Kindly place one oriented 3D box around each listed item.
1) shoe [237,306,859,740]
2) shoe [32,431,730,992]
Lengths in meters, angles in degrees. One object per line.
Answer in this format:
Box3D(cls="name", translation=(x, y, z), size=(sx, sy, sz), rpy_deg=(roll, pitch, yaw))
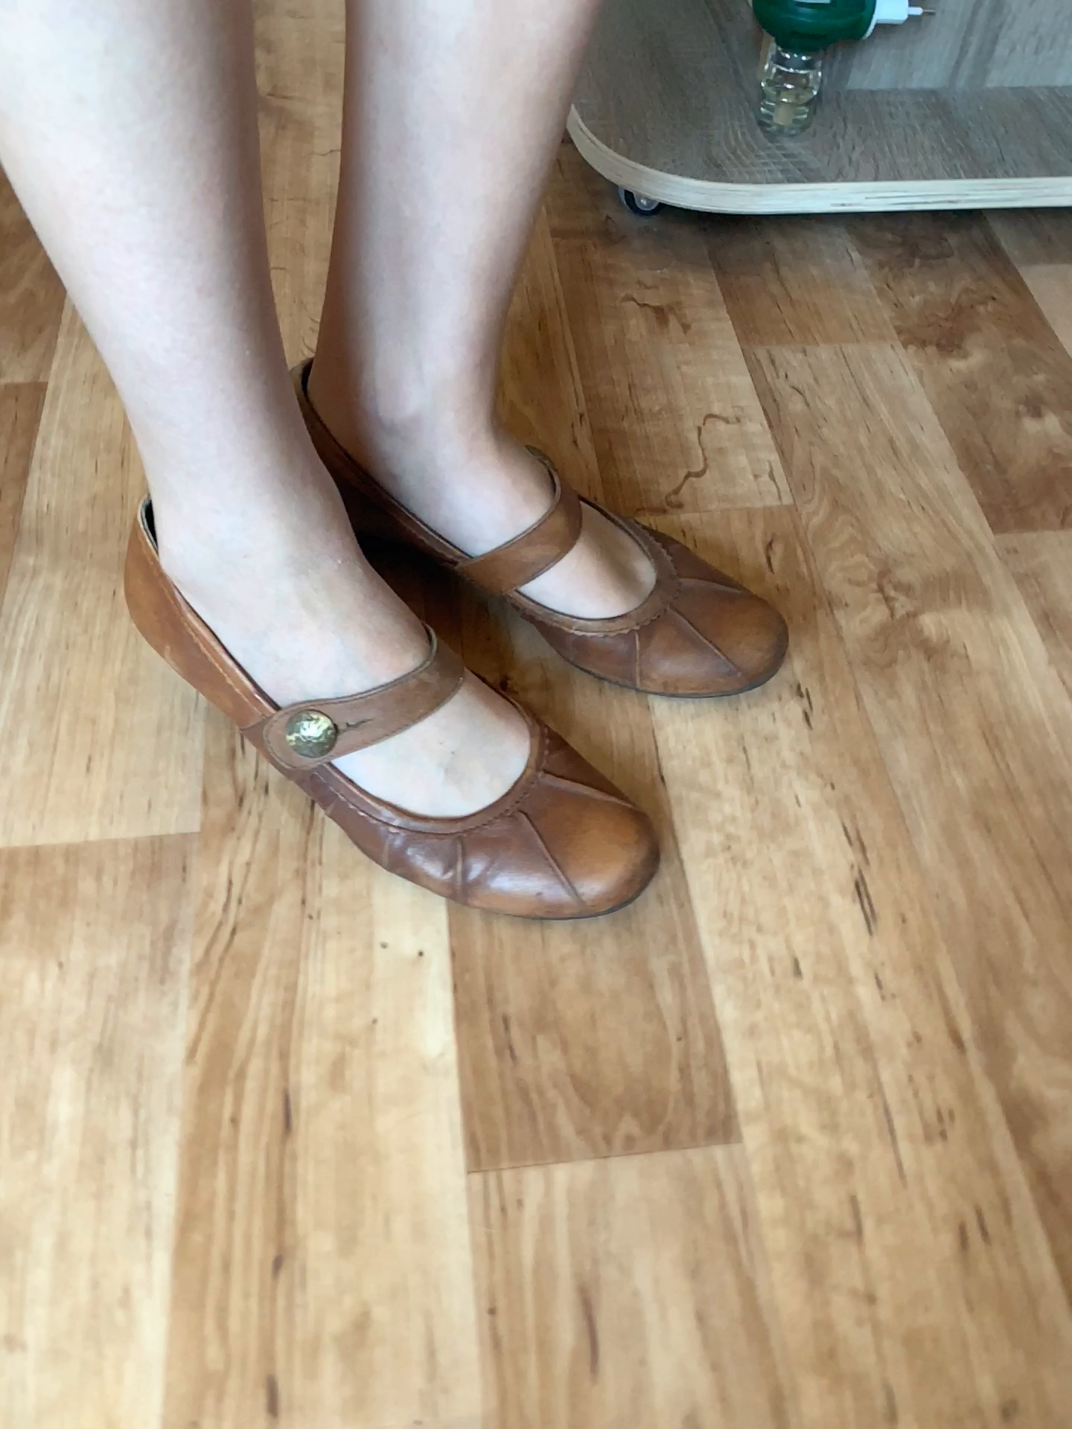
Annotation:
Box3D(cls="shoe", translation=(0.004, -0.090, 0.504), size=(0.250, 0.090, 0.090), rpy_deg=(20, 57, 10))
Box3D(cls="shoe", translation=(-0.063, -0.006, 0.441), size=(0.250, 0.090, 0.090), rpy_deg=(28, 58, 15))
